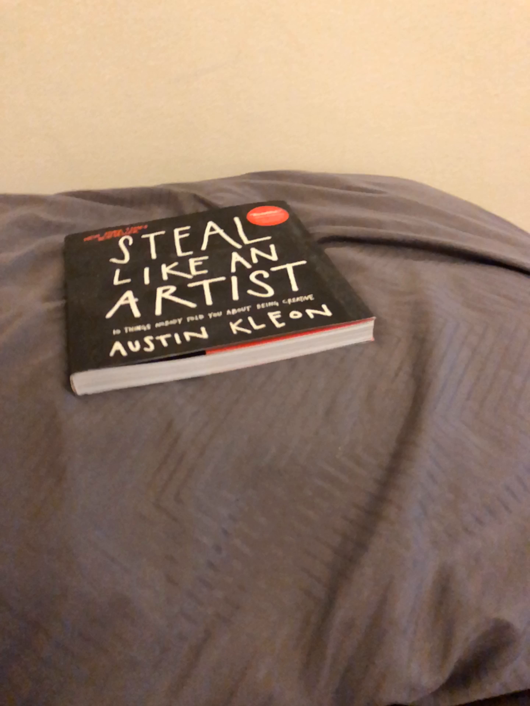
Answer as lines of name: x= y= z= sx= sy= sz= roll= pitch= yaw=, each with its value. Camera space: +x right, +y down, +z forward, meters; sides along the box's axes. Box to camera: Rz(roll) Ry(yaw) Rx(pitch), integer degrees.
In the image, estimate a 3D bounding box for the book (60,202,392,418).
book: x=-0.035 y=-0.039 z=0.343 sx=0.160 sy=0.020 sz=0.161 roll=-10 pitch=39 yaw=-13
